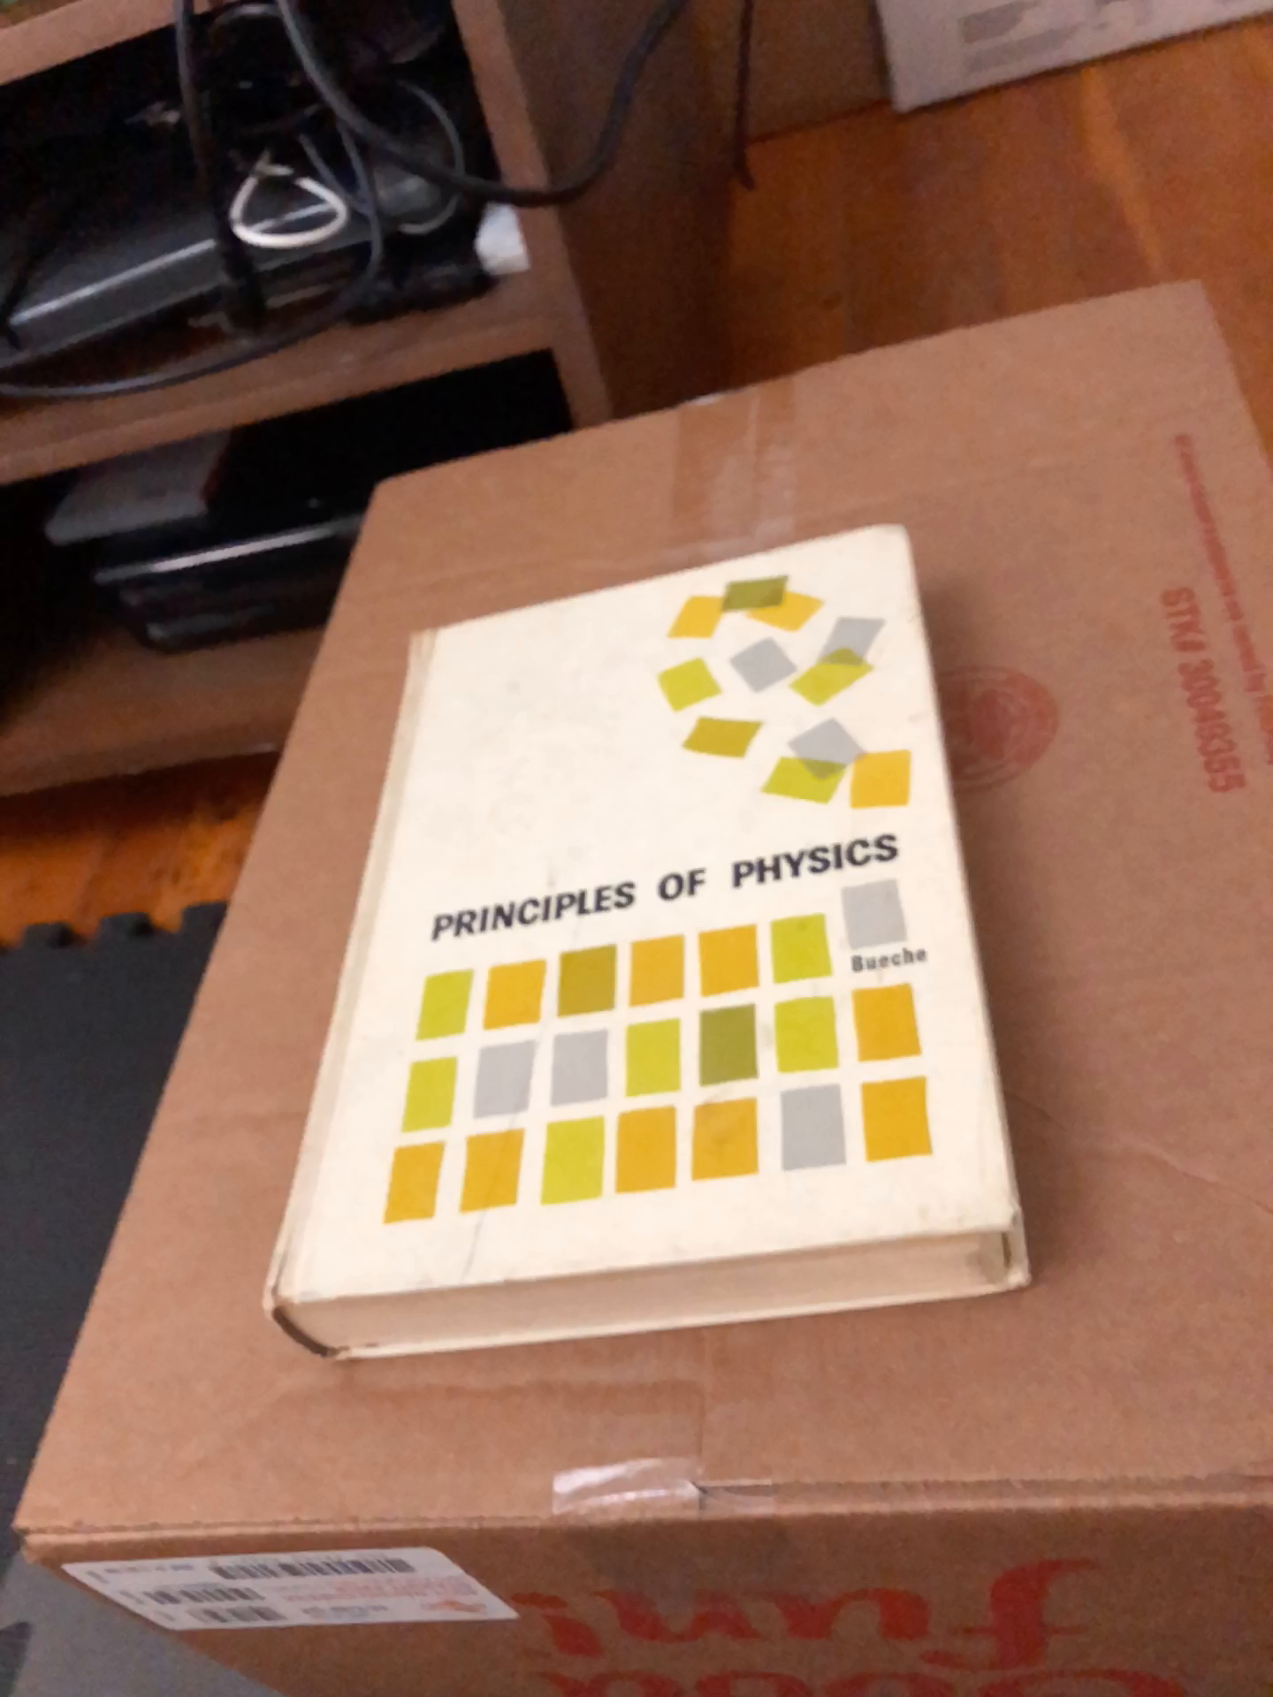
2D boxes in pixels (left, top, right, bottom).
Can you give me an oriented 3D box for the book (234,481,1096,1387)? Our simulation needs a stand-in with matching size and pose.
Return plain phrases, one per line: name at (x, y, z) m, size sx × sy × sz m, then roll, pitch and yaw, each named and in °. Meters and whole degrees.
book at (0.010, 0.008, 0.388) m, size 0.180 × 0.040 × 0.251 m, roll -10°, pitch 46°, yaw 15°
